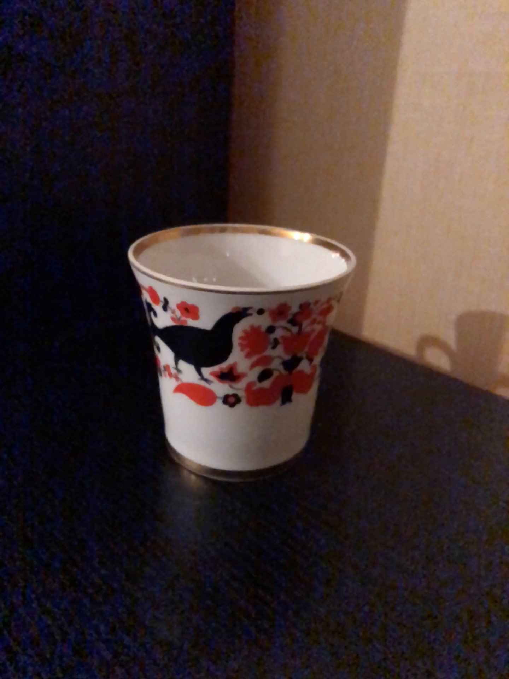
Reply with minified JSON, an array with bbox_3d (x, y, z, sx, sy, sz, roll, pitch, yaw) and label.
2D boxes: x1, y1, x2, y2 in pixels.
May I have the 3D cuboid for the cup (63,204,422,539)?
[{"bbox_3d":[-0.011,-0.001,0.271,0.102,0.092,0.125,-18,32,-38],"label":"cup"}]
